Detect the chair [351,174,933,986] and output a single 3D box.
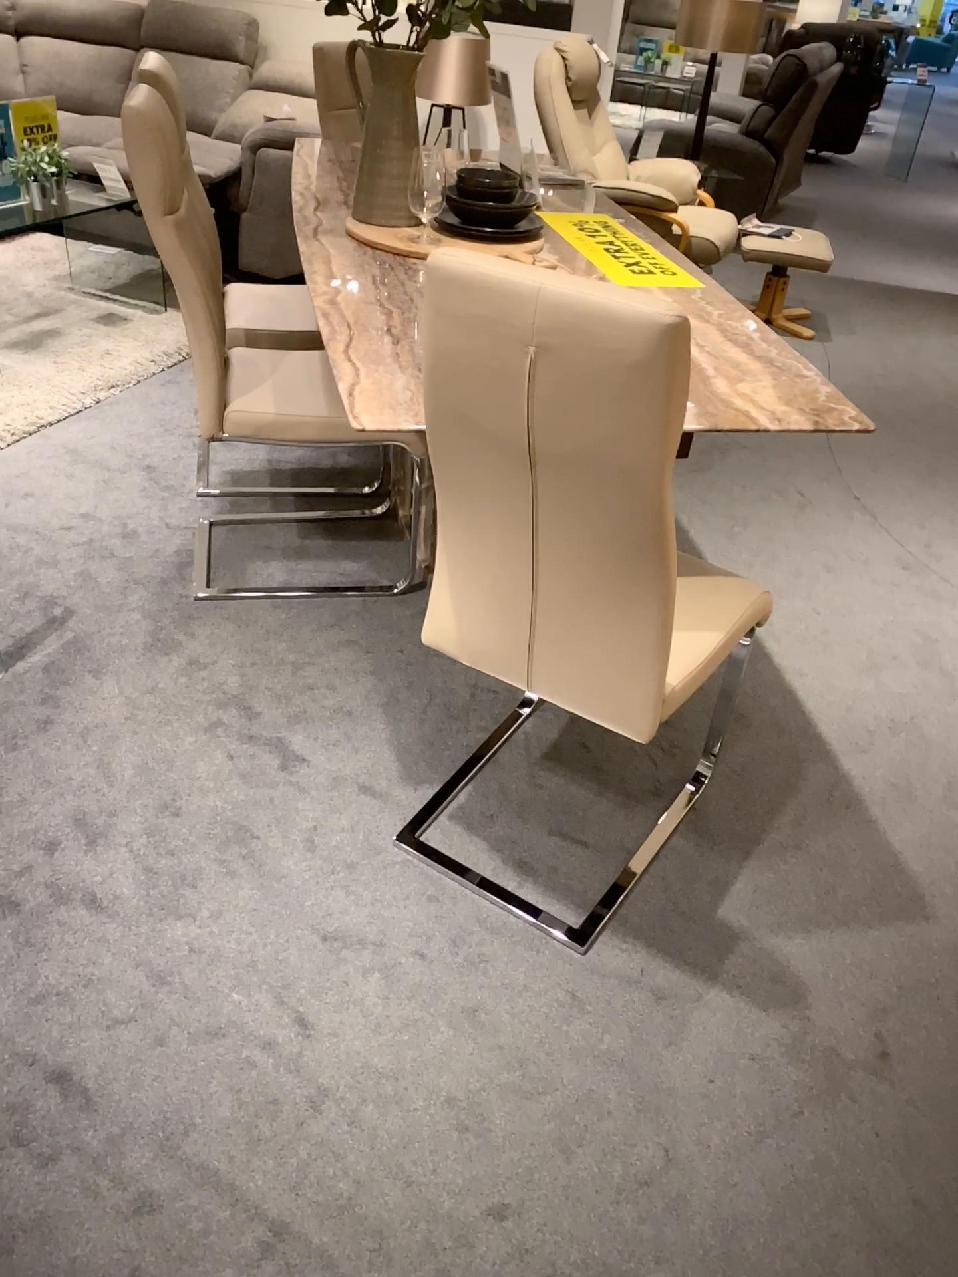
[{"bbox_3d":[0.201,-0.110,1.504,0.528,0.981,0.587,24,38,24],"label":"chair"}]
